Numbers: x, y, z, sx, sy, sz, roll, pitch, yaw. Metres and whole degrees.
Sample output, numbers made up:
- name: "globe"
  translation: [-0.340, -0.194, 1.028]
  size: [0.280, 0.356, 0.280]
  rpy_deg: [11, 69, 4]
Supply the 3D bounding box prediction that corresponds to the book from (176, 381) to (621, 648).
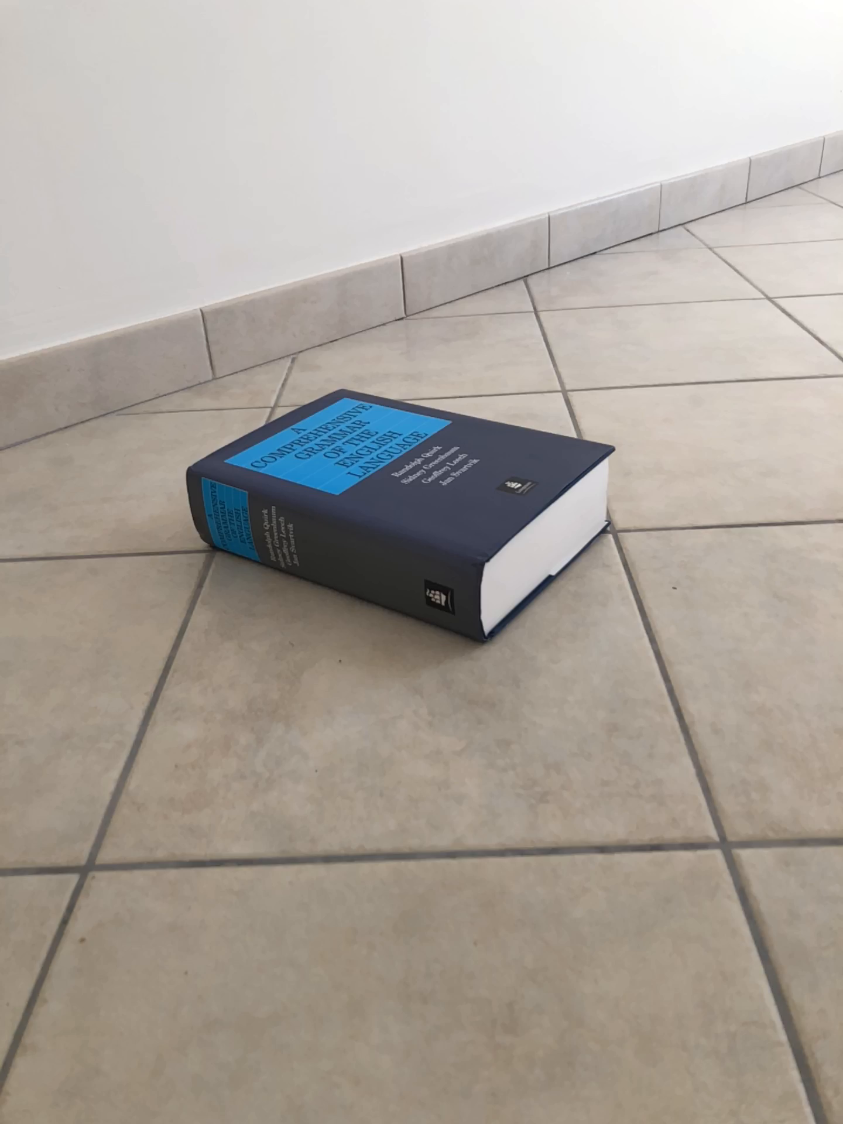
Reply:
- name: "book"
  translation: [-0.015, -0.050, 0.666]
  size: [0.256, 0.066, 0.181]
  rpy_deg: [17, 37, 31]
